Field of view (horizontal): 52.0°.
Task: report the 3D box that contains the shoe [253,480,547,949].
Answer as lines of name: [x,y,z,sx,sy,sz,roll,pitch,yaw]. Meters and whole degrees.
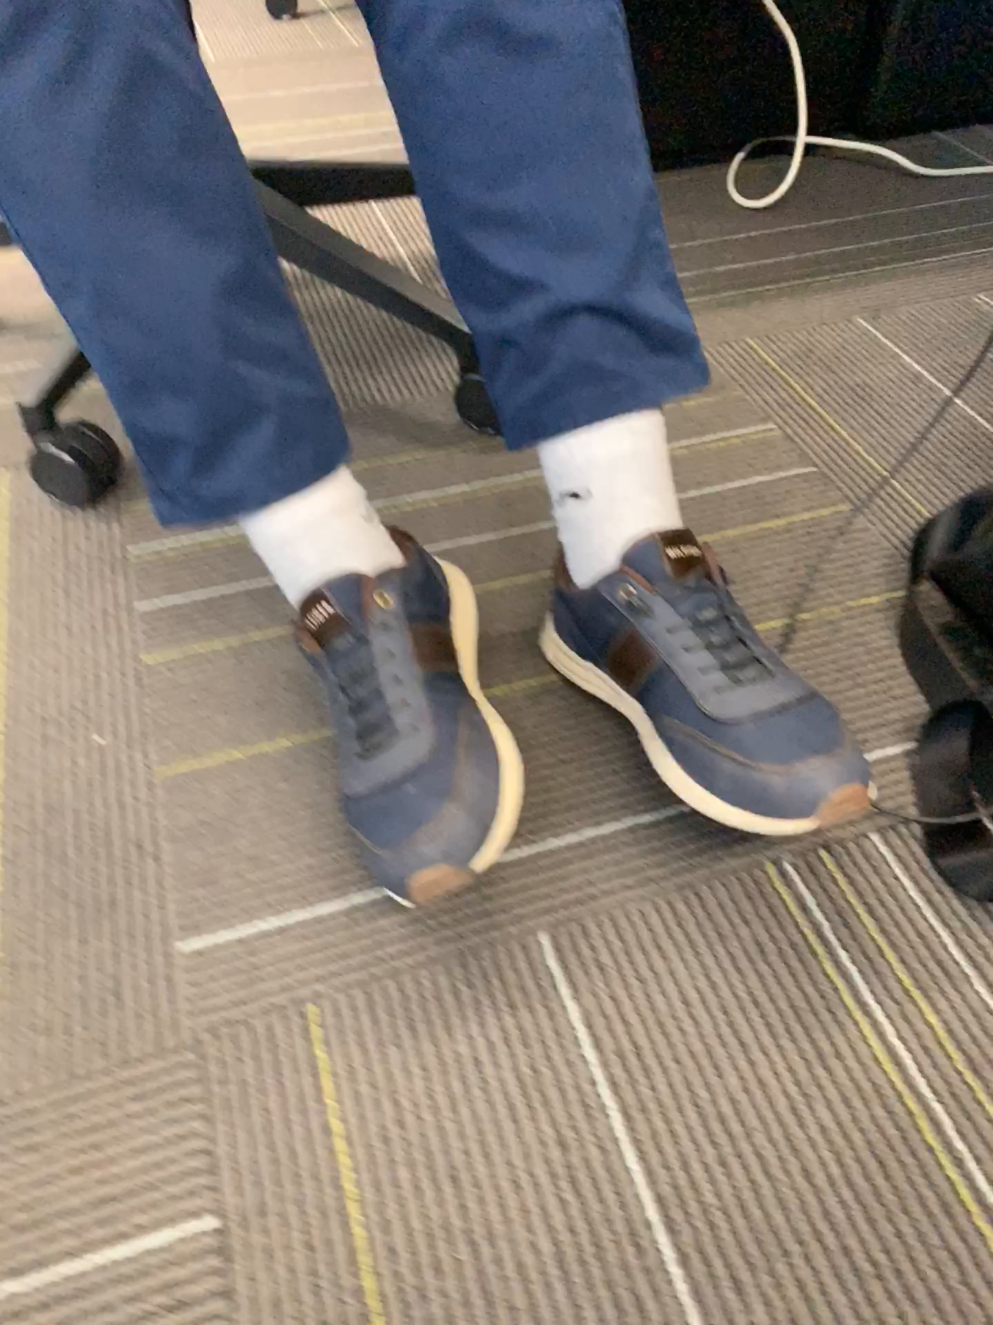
shoe: [-0.065,0.012,0.675,0.120,0.100,0.321,-29,32,12]

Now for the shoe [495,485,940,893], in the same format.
shoe: [0.120,-0.005,0.658,0.120,0.100,0.301,-19,34,-17]
